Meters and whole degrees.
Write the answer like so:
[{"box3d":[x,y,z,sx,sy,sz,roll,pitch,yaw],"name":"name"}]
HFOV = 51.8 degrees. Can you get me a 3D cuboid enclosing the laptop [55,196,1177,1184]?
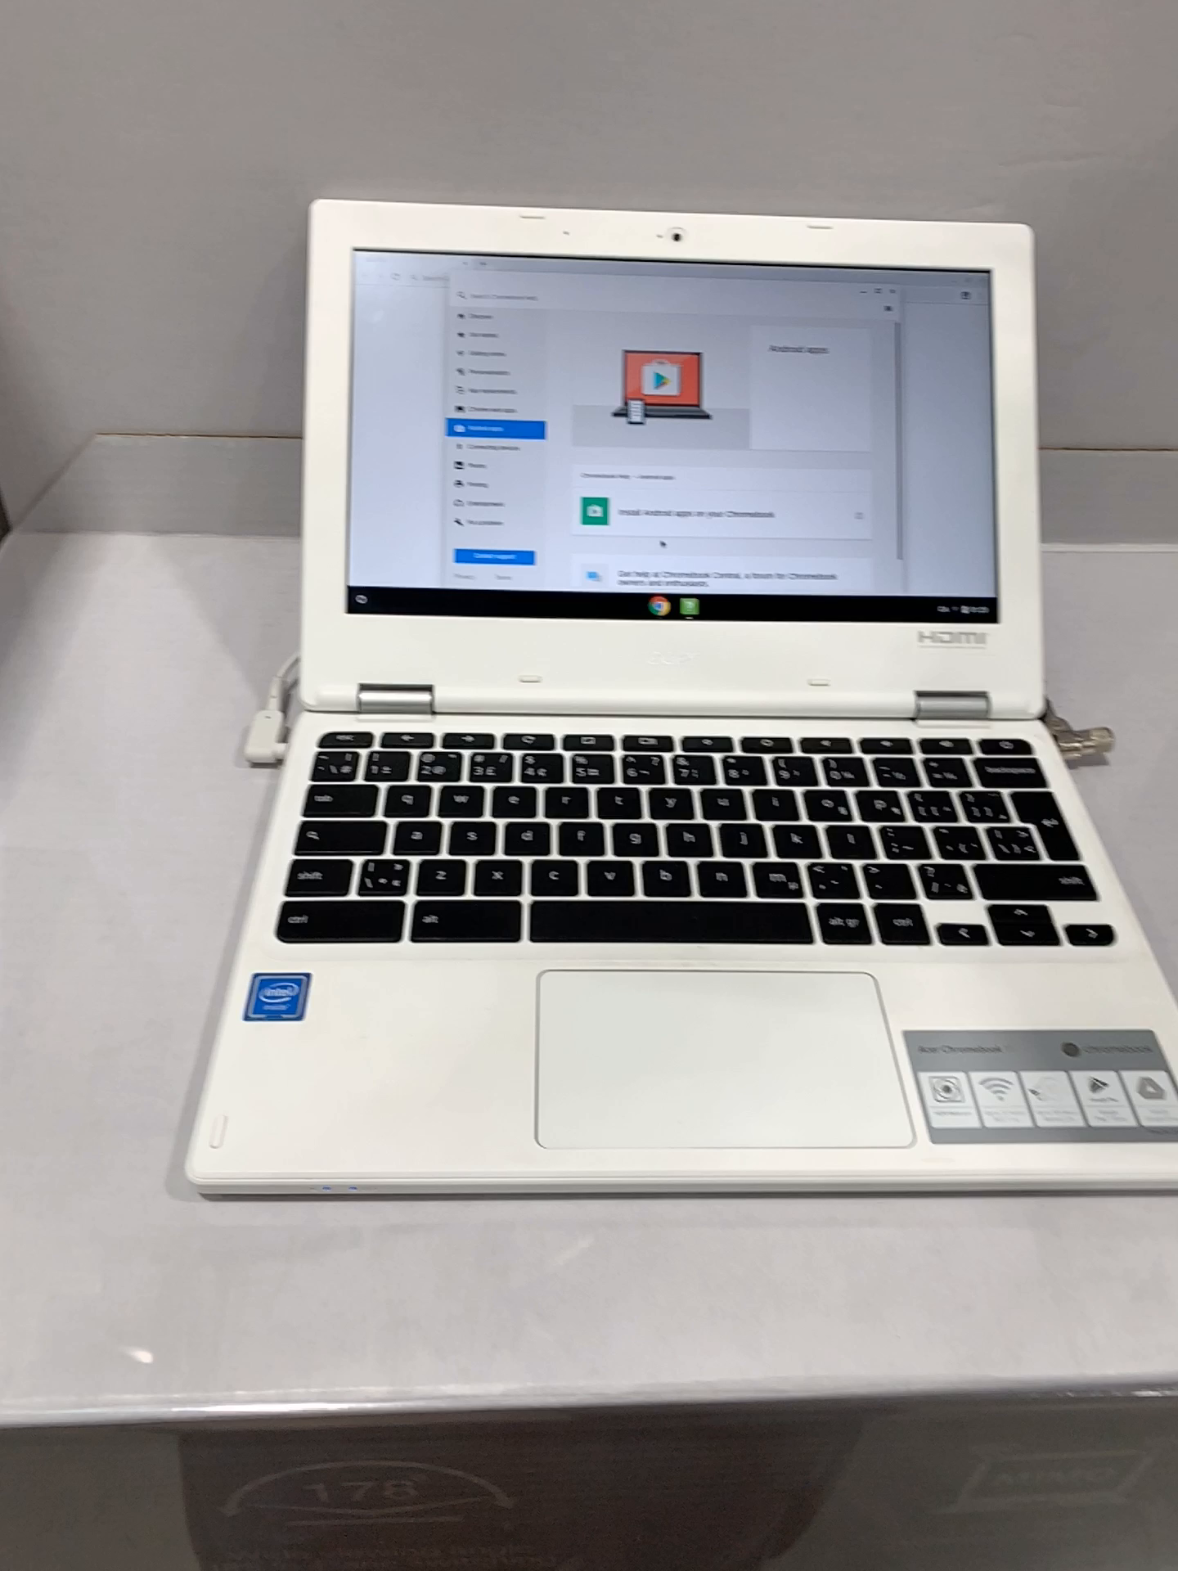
[{"box3d":[0.036,-0.059,0.395,0.282,0.132,0.330,1,44,-2],"name":"laptop"}]
